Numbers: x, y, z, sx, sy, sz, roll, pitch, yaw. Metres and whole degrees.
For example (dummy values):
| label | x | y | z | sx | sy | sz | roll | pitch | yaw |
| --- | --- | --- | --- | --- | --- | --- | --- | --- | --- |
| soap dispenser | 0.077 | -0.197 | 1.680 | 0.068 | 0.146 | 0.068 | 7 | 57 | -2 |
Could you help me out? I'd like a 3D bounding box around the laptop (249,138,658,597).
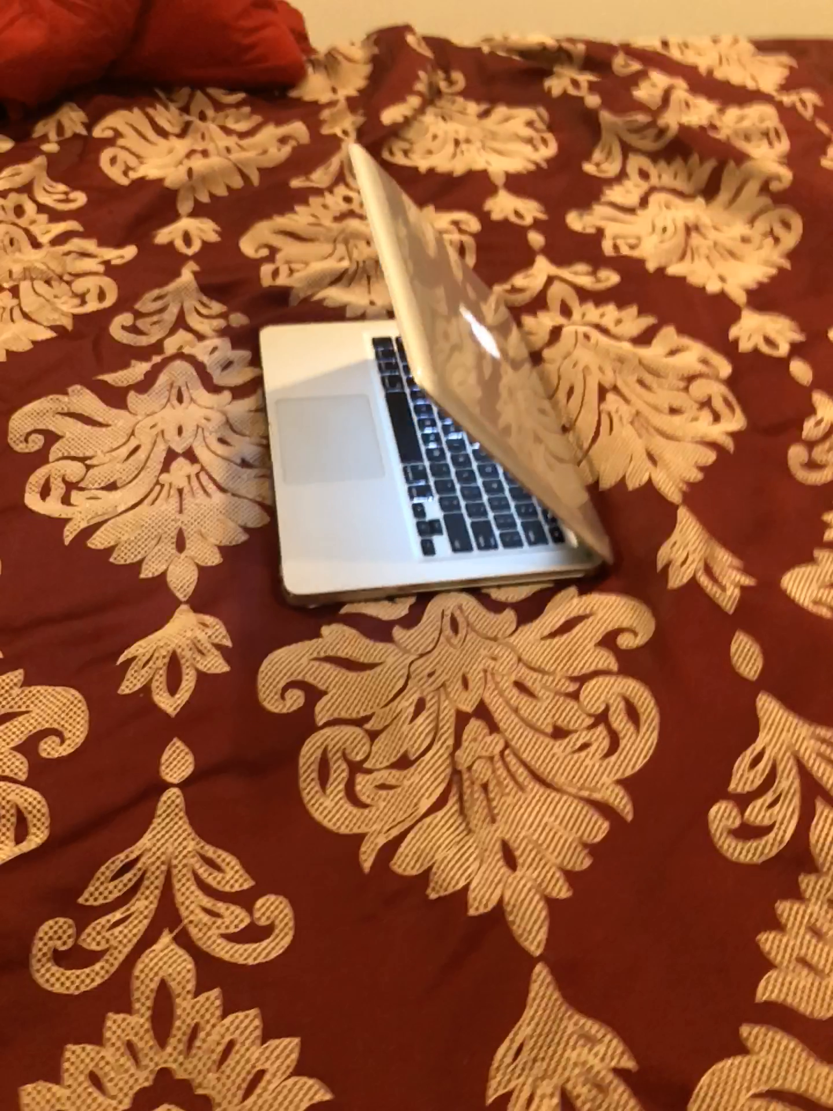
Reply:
| label | x | y | z | sx | sy | sz | roll | pitch | yaw |
| --- | --- | --- | --- | --- | --- | --- | --- | --- | --- |
| laptop | 0.001 | -0.151 | 0.666 | 0.212 | 0.156 | 0.313 | -5 | 47 | -8 |
